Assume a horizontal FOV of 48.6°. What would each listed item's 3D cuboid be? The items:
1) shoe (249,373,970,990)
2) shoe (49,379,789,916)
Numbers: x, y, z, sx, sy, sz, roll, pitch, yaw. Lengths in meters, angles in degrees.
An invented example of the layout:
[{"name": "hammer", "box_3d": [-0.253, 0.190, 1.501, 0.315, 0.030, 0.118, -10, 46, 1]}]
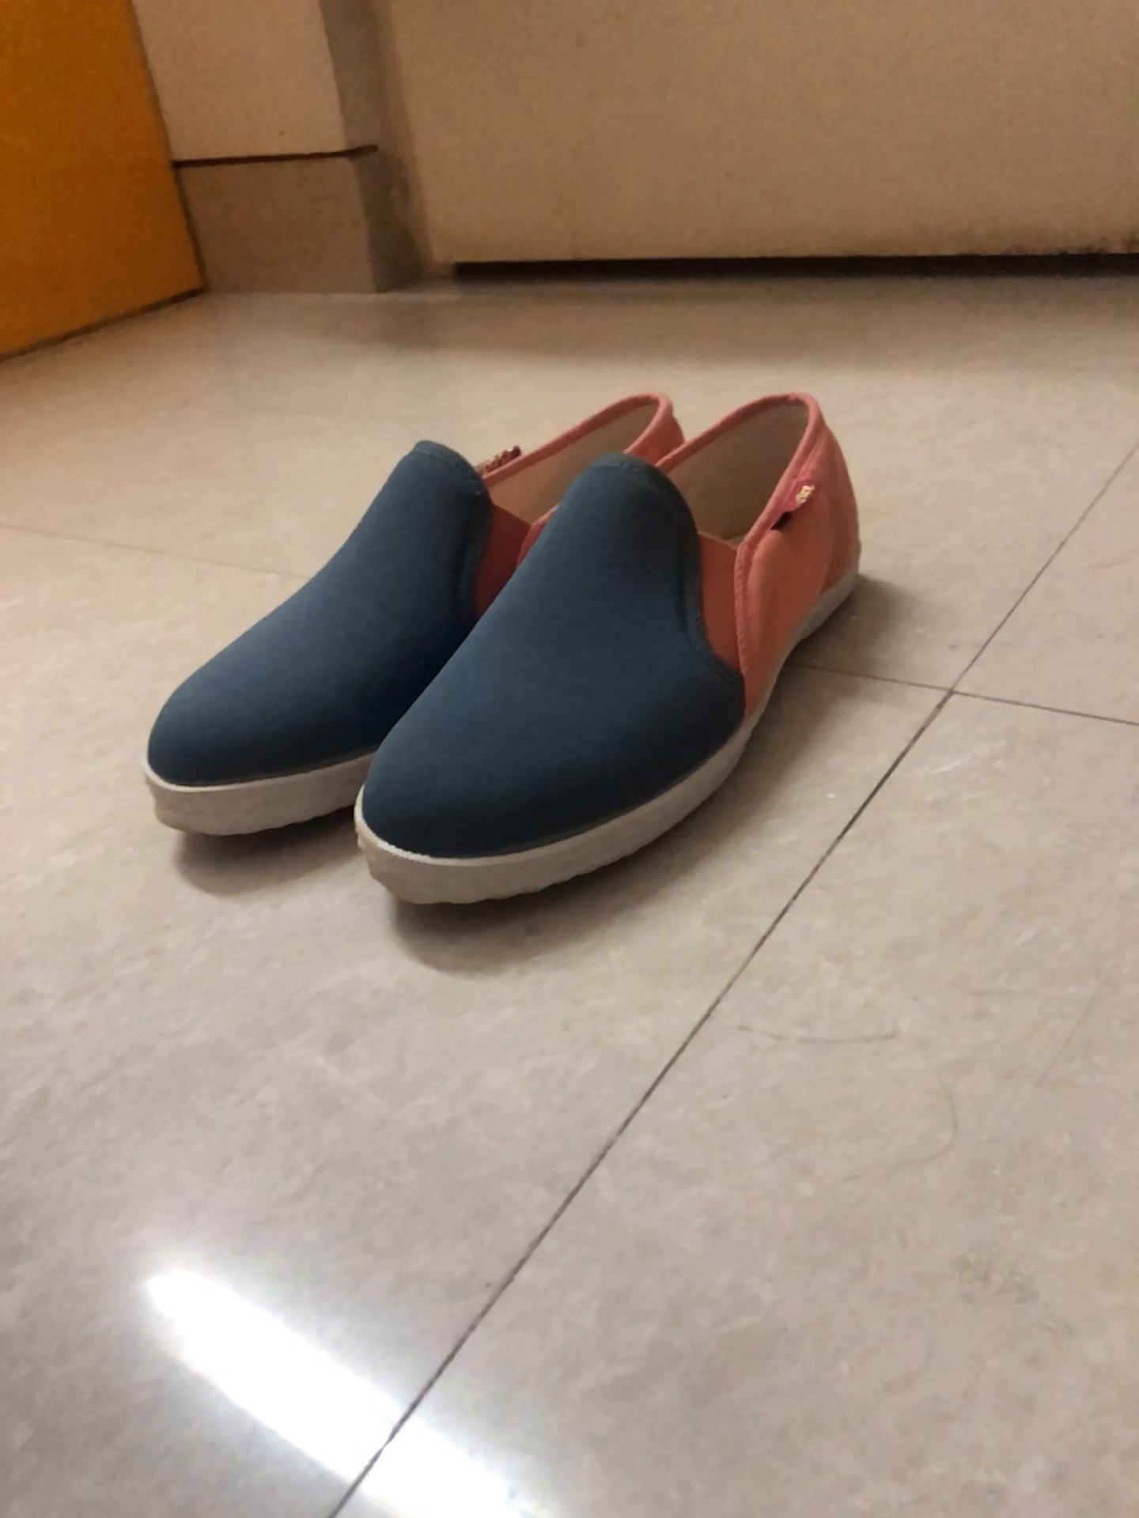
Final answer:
[{"name": "shoe", "box_3d": [0.029, -0.042, 0.346, 0.090, 0.060, 0.221, 12, 37, 31]}, {"name": "shoe", "box_3d": [-0.029, -0.051, 0.387, 0.090, 0.060, 0.221, 17, 40, 36]}]
